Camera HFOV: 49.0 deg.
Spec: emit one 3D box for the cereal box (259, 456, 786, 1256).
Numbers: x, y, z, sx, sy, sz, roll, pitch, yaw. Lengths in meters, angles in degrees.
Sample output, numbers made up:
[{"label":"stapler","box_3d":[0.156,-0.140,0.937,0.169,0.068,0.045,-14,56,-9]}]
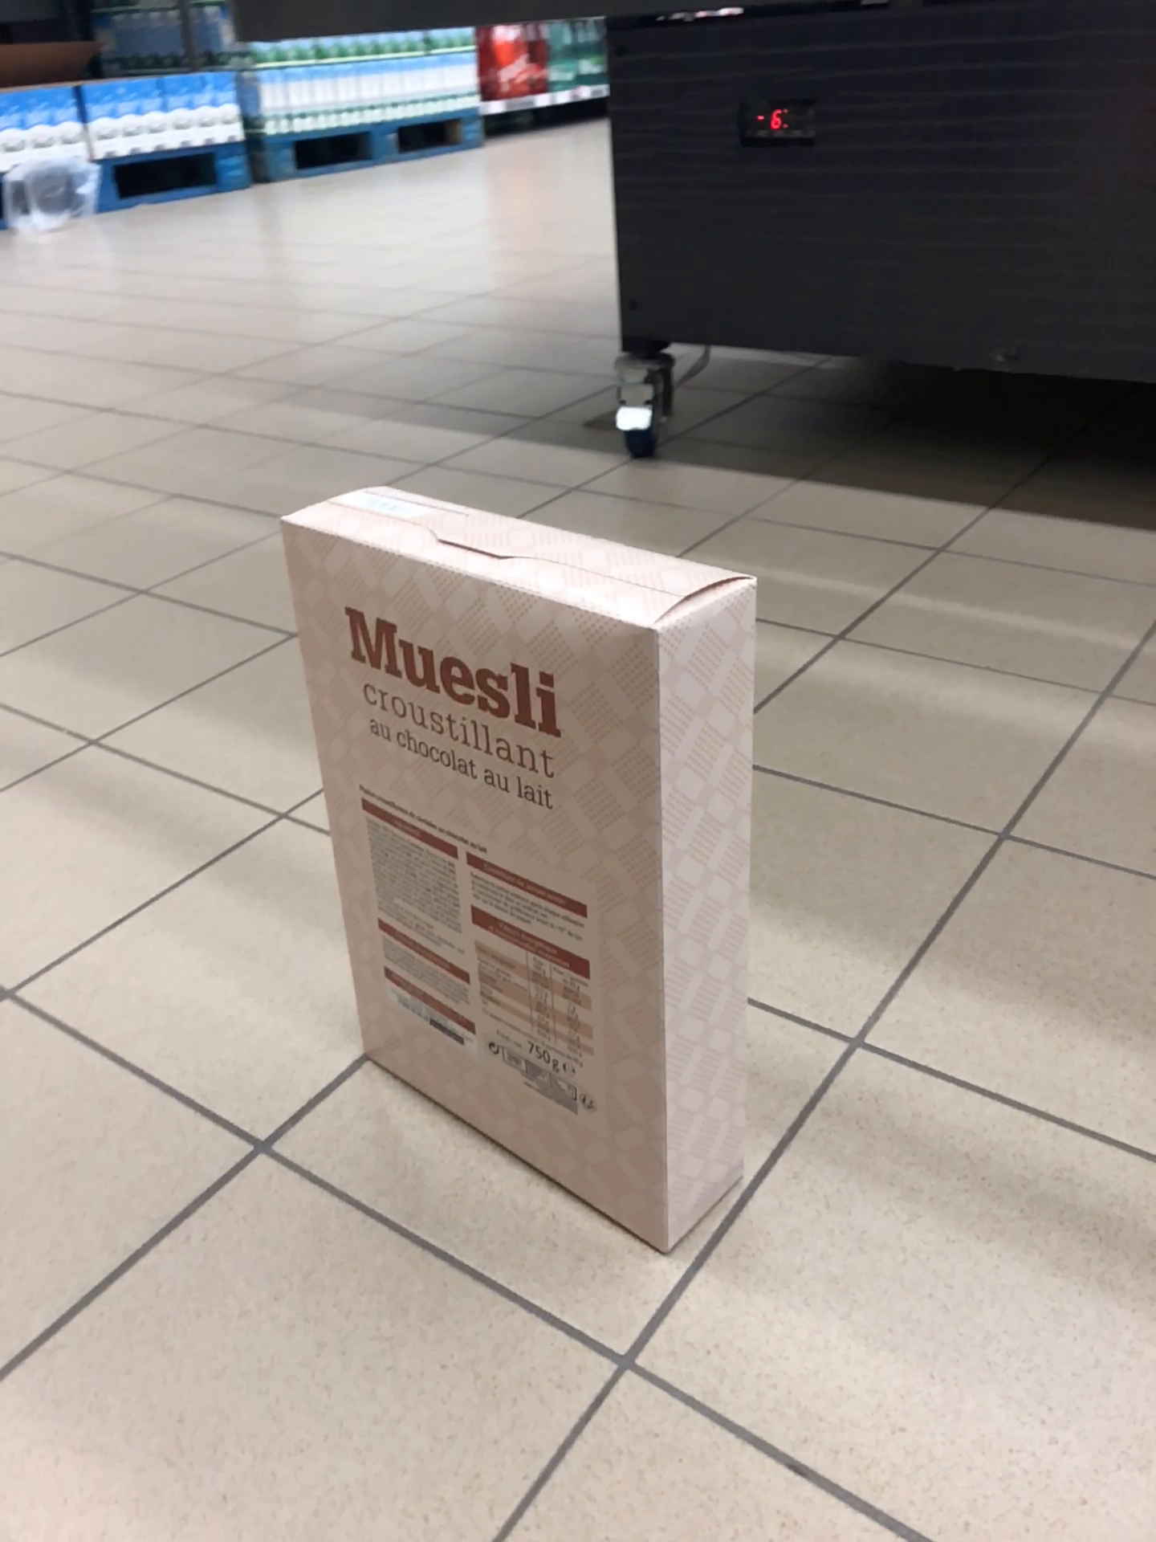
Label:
[{"label":"cereal box","box_3d":[-0.023,0.028,0.508,0.200,0.269,0.060,21,36,37]}]
